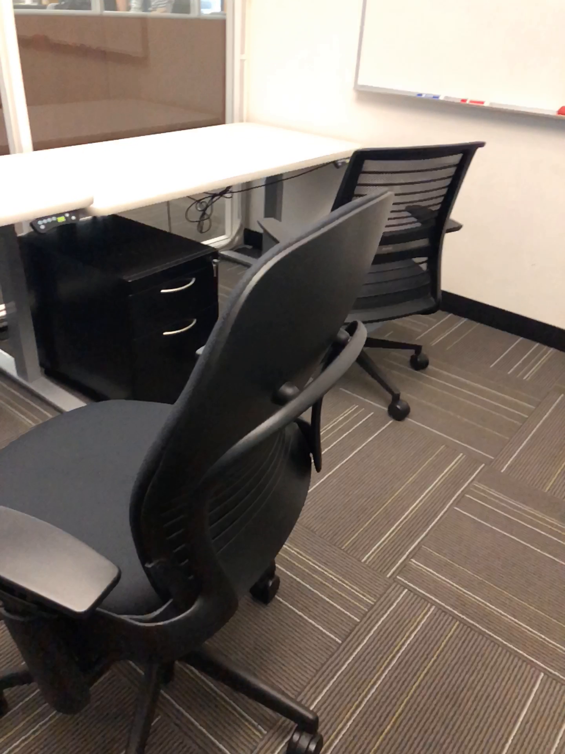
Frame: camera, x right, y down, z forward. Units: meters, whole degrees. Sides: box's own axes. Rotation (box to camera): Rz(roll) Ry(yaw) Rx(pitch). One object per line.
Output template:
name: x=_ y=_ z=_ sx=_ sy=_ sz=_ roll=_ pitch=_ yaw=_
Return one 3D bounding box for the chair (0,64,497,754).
chair: x=-0.251 y=0.123 z=1.003 sx=0.831 sy=1.035 sz=0.733 roll=16 pitch=33 yaw=21
